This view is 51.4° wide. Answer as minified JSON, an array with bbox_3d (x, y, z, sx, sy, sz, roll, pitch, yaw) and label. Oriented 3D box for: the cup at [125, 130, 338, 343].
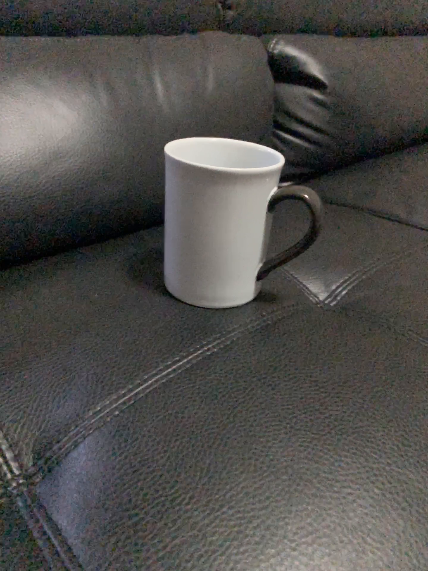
[{"bbox_3d":[0.013,-0.046,0.340,0.124,0.115,0.093,16,30,23],"label":"cup"}]
